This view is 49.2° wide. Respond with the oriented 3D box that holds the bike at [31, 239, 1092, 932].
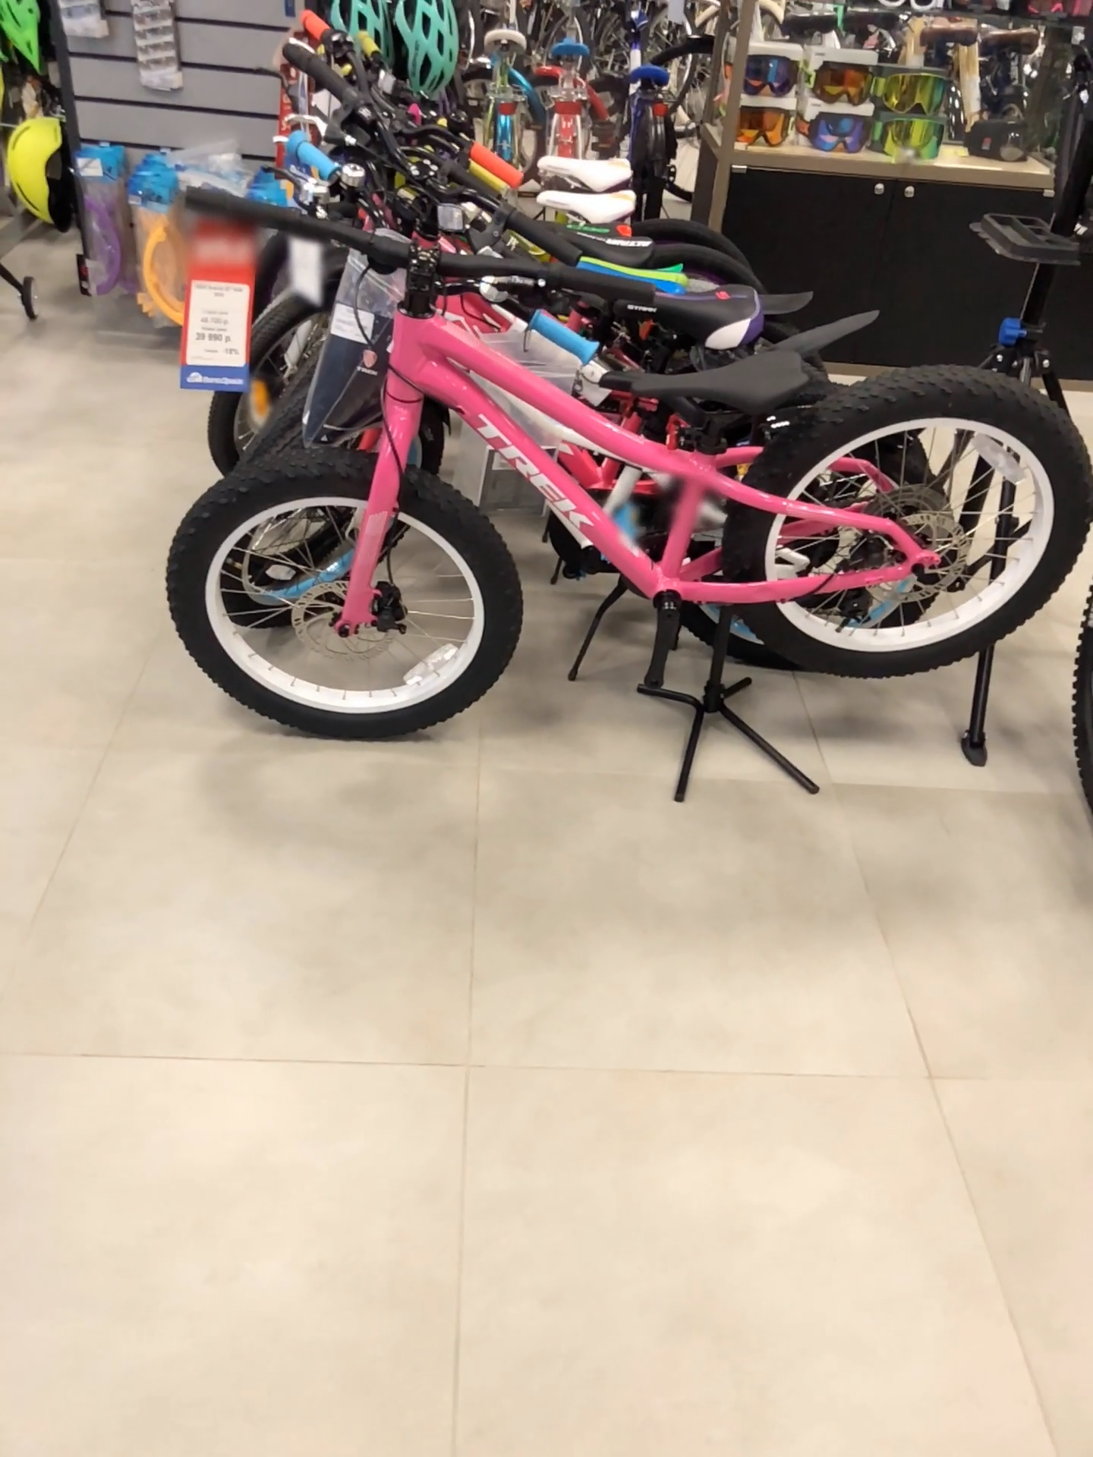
[{"bbox_3d":[0.106,-0.209,1.686,1.334,0.668,0.574,-2,36,1],"label":"bike"}]
